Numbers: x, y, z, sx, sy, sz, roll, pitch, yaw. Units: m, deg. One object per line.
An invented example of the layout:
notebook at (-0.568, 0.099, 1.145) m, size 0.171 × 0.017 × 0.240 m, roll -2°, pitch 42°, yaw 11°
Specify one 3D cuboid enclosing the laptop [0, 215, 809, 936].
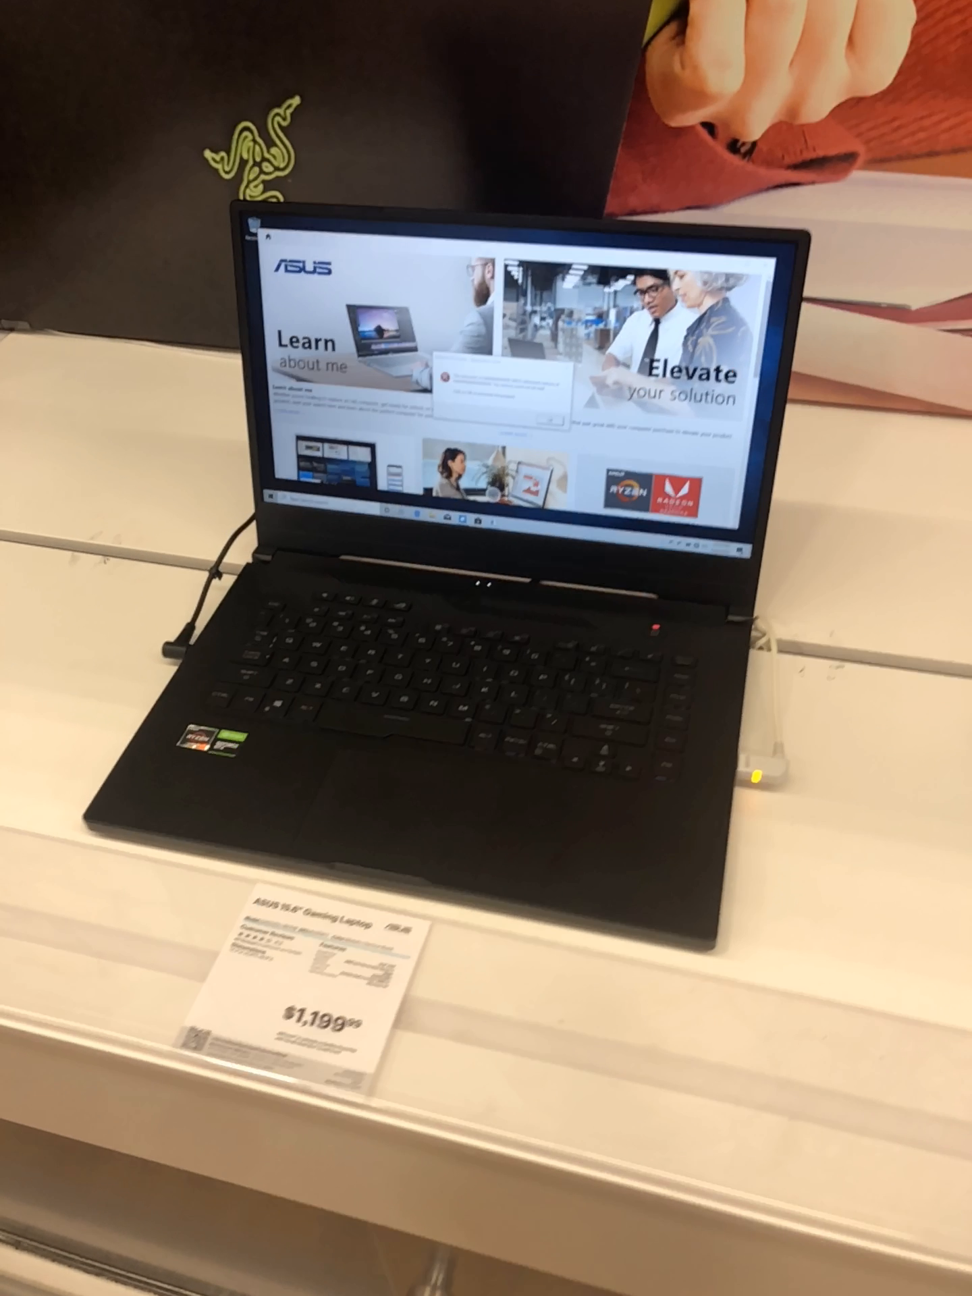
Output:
laptop at (-0.024, -0.065, 0.595) m, size 0.351 × 0.222 × 0.311 m, roll 8°, pitch 44°, yaw 13°
